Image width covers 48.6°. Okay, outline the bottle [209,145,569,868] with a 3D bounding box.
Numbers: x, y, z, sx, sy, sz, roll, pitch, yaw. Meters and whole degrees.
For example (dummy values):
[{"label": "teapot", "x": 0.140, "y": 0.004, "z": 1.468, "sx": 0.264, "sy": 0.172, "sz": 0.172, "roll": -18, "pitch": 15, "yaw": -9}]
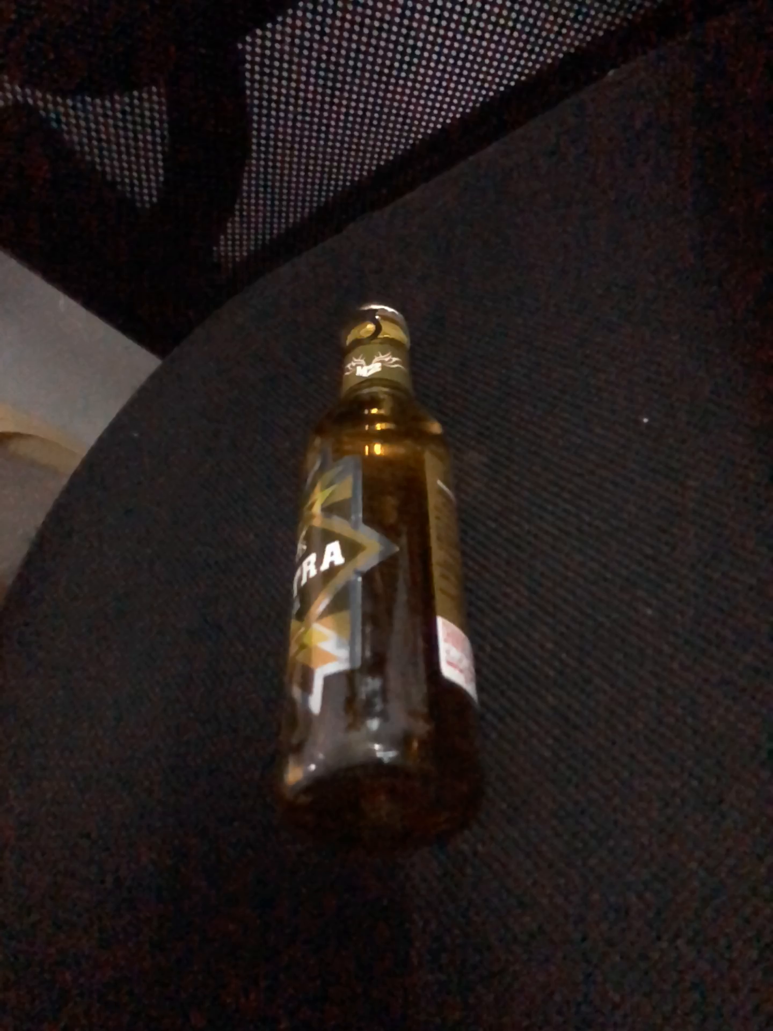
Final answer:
[{"label": "bottle", "x": -0.010, "y": -0.015, "z": 0.285, "sx": 0.070, "sy": 0.060, "sz": 0.231, "roll": -30, "pitch": 48, "yaw": 30}]
